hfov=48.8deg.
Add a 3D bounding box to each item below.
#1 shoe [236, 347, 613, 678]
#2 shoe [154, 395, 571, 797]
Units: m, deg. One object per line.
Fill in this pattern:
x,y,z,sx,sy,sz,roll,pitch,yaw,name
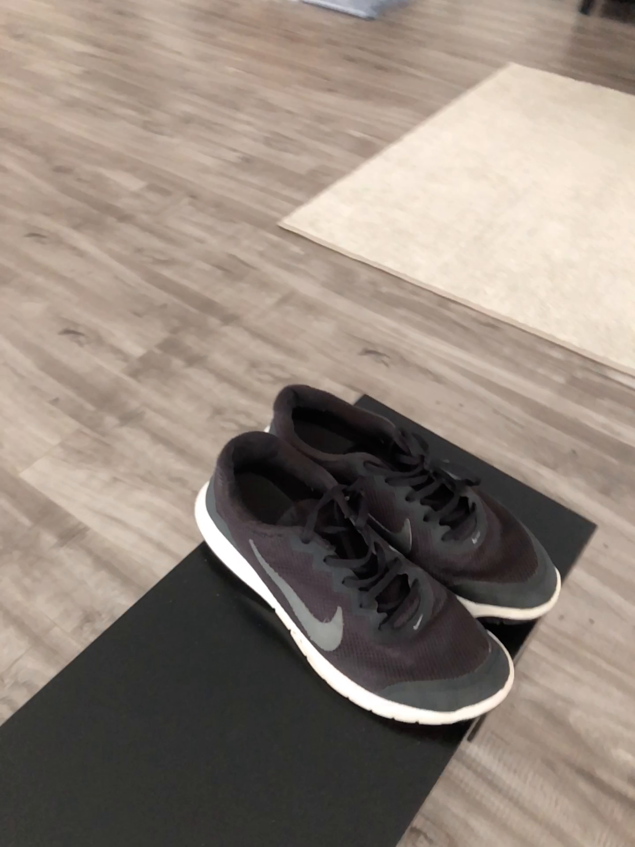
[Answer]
0.076,0.065,0.590,0.280,0.110,0.110,30,52,22,shoe
0.019,0.114,0.516,0.281,0.100,0.110,35,54,23,shoe
